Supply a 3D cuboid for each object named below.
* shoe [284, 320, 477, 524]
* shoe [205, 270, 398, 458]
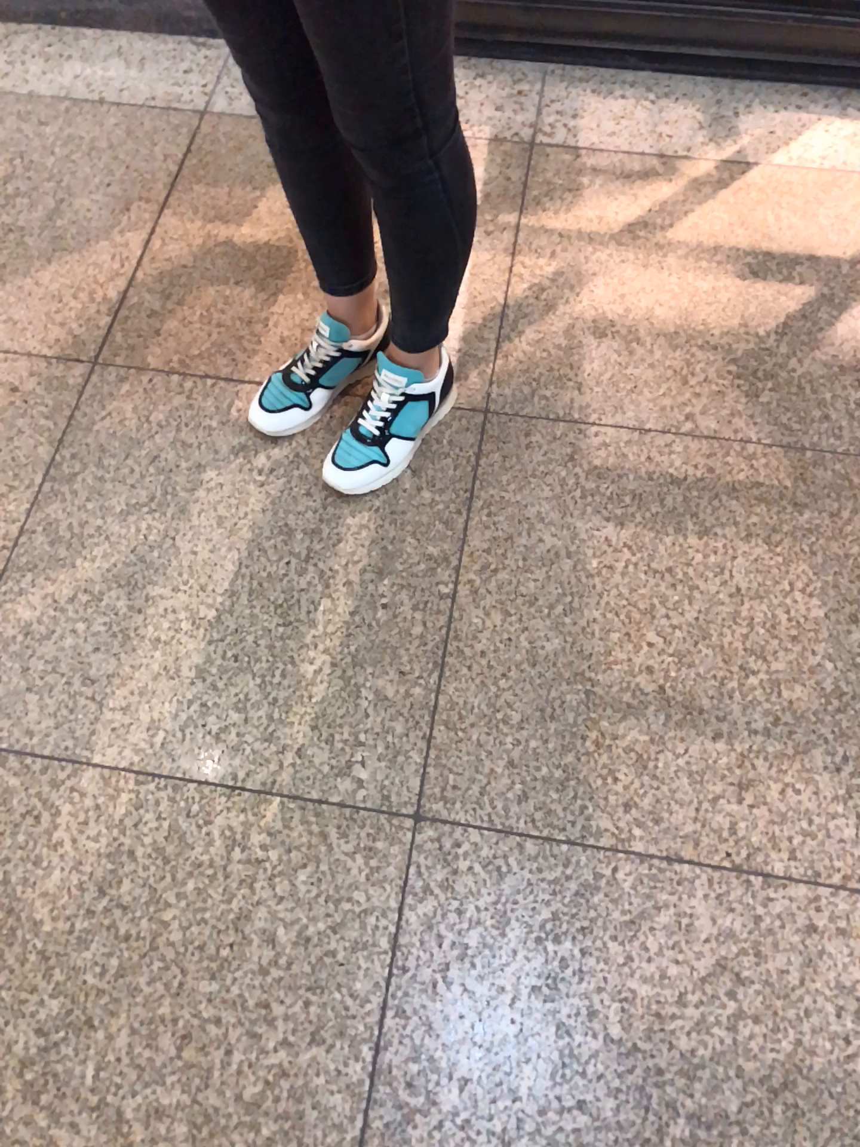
[{"bbox_3d":[-0.060,-0.204,1.255,0.110,0.100,0.250,36,67,20],"label":"shoe"},{"bbox_3d":[-0.170,-0.289,1.292,0.107,0.100,0.240,40,69,21],"label":"shoe"}]
